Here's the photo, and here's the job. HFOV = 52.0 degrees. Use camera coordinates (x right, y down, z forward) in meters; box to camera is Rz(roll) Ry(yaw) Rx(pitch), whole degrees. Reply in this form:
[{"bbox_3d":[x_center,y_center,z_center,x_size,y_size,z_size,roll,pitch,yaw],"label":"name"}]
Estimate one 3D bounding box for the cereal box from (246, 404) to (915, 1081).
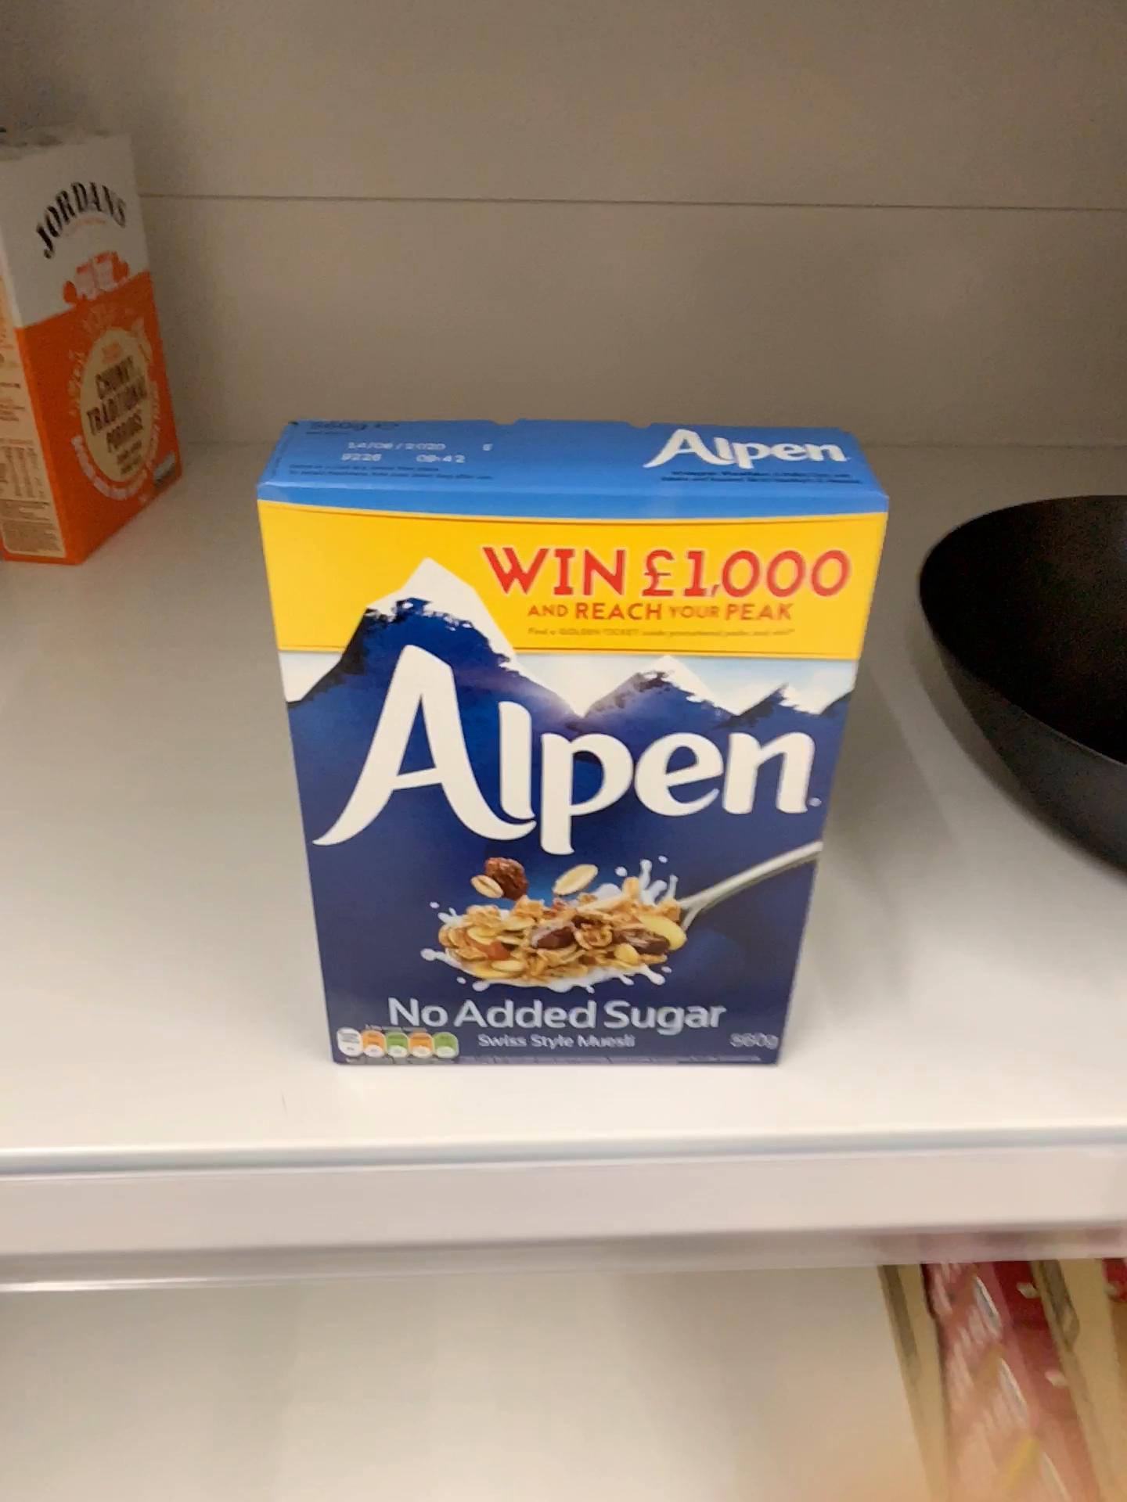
[{"bbox_3d":[0.002,0.010,0.402,0.180,0.238,0.061,1,34,-1],"label":"cereal box"}]
